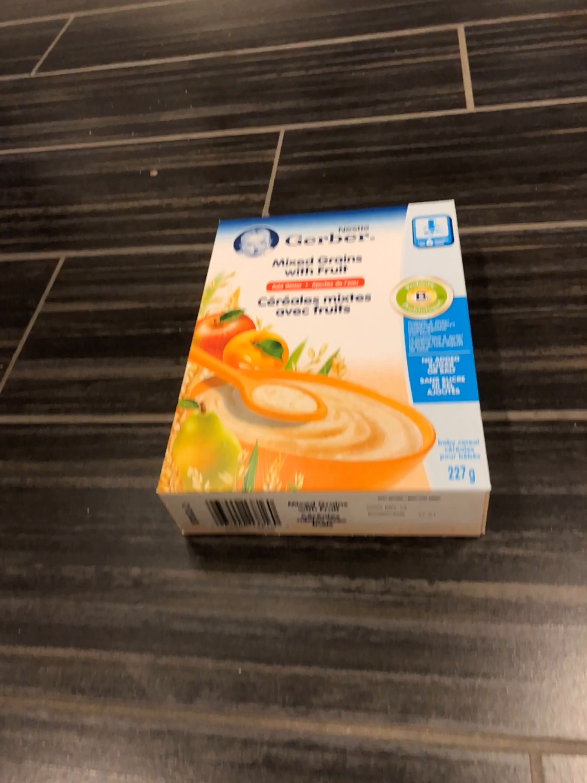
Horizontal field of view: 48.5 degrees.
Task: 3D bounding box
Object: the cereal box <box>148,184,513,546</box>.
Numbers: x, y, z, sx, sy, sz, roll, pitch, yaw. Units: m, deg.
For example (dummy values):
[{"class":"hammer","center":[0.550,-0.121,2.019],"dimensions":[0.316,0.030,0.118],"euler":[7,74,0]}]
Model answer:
[{"class":"cereal box","center":[0.023,-0.023,0.347],"dimensions":[0.150,0.050,0.200],"euler":[-2,52,9]}]
